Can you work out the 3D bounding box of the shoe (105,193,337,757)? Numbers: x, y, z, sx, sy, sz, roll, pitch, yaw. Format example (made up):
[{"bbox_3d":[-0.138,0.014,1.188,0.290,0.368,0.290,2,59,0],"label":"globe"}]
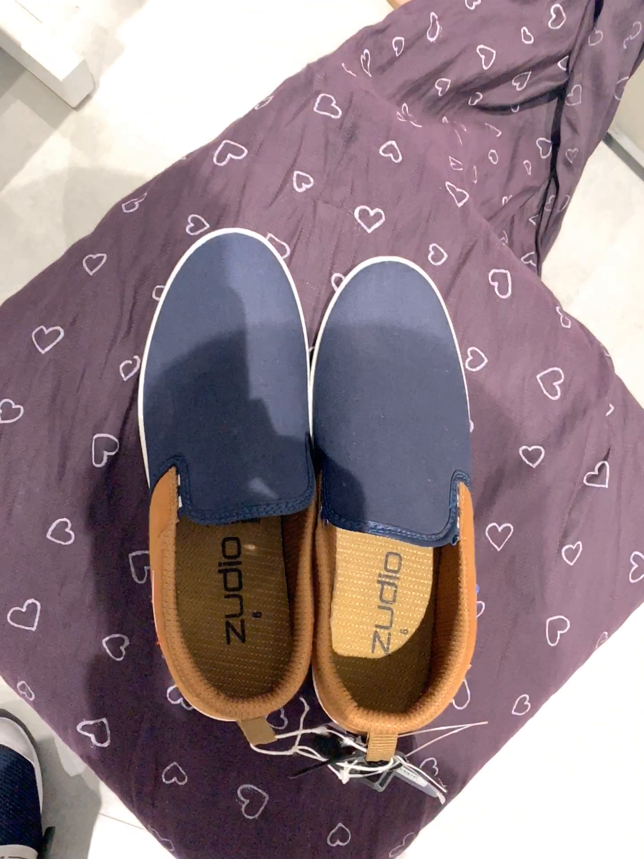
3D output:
[{"bbox_3d":[-0.054,0.018,0.352,0.100,0.060,0.270,-3,86,-8],"label":"shoe"}]

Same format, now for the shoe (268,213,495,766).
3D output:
[{"bbox_3d":[0.030,0.030,0.359,0.100,0.060,0.270,4,86,-7],"label":"shoe"}]
